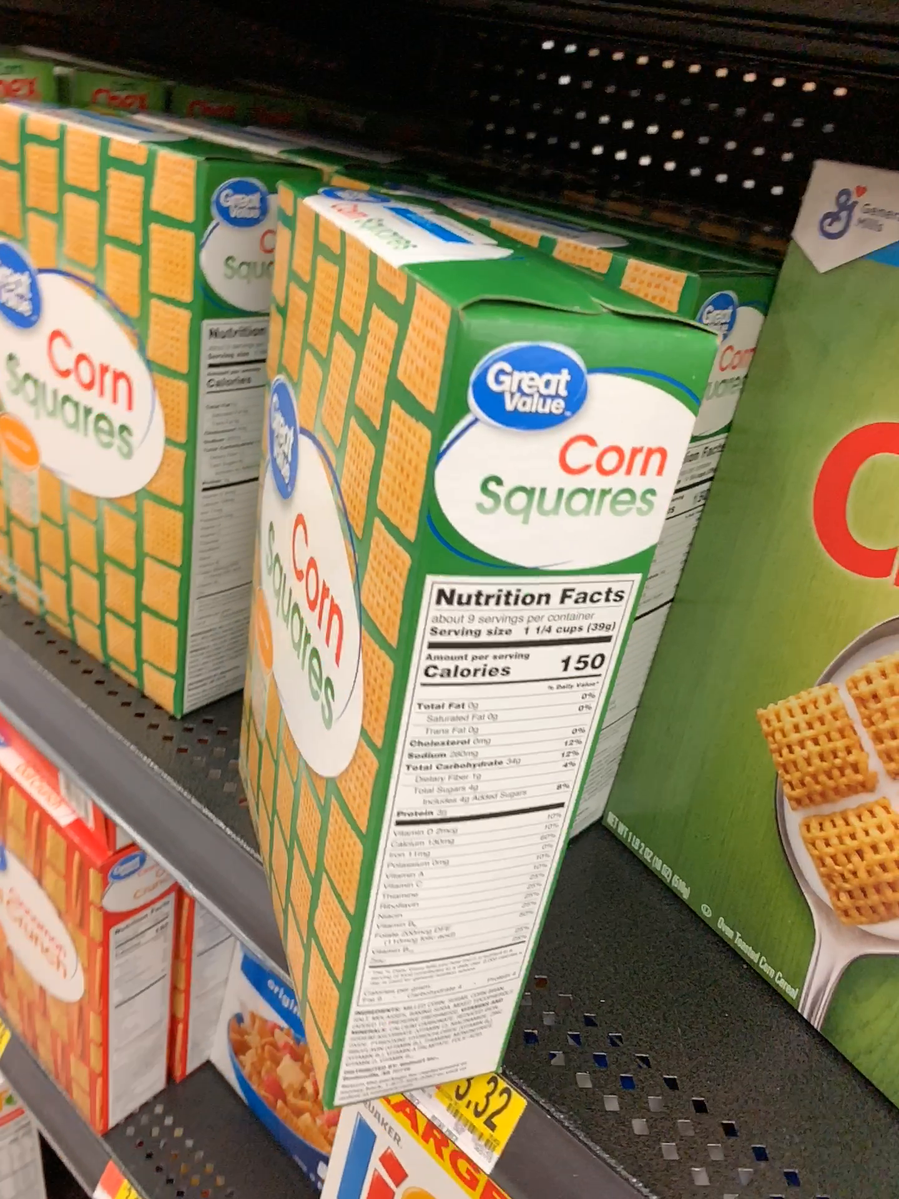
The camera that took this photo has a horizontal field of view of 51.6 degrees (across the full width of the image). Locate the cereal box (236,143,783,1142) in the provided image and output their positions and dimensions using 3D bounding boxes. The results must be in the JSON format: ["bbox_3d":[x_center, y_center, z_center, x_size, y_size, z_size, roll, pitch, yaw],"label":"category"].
[{"bbox_3d":[-0.017,0.009,0.342,0.070,0.289,0.201,-2,32,-23],"label":"cereal box"}]
